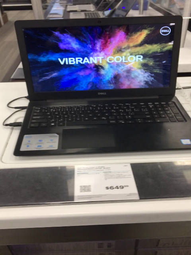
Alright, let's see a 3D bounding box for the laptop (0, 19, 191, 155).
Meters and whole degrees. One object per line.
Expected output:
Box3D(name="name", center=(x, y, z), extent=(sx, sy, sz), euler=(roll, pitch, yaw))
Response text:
Box3D(name="laptop", center=(0.024, -0.111, 0.603), extent=(0.426, 0.223, 0.290), euler=(-3, 37, -2))
